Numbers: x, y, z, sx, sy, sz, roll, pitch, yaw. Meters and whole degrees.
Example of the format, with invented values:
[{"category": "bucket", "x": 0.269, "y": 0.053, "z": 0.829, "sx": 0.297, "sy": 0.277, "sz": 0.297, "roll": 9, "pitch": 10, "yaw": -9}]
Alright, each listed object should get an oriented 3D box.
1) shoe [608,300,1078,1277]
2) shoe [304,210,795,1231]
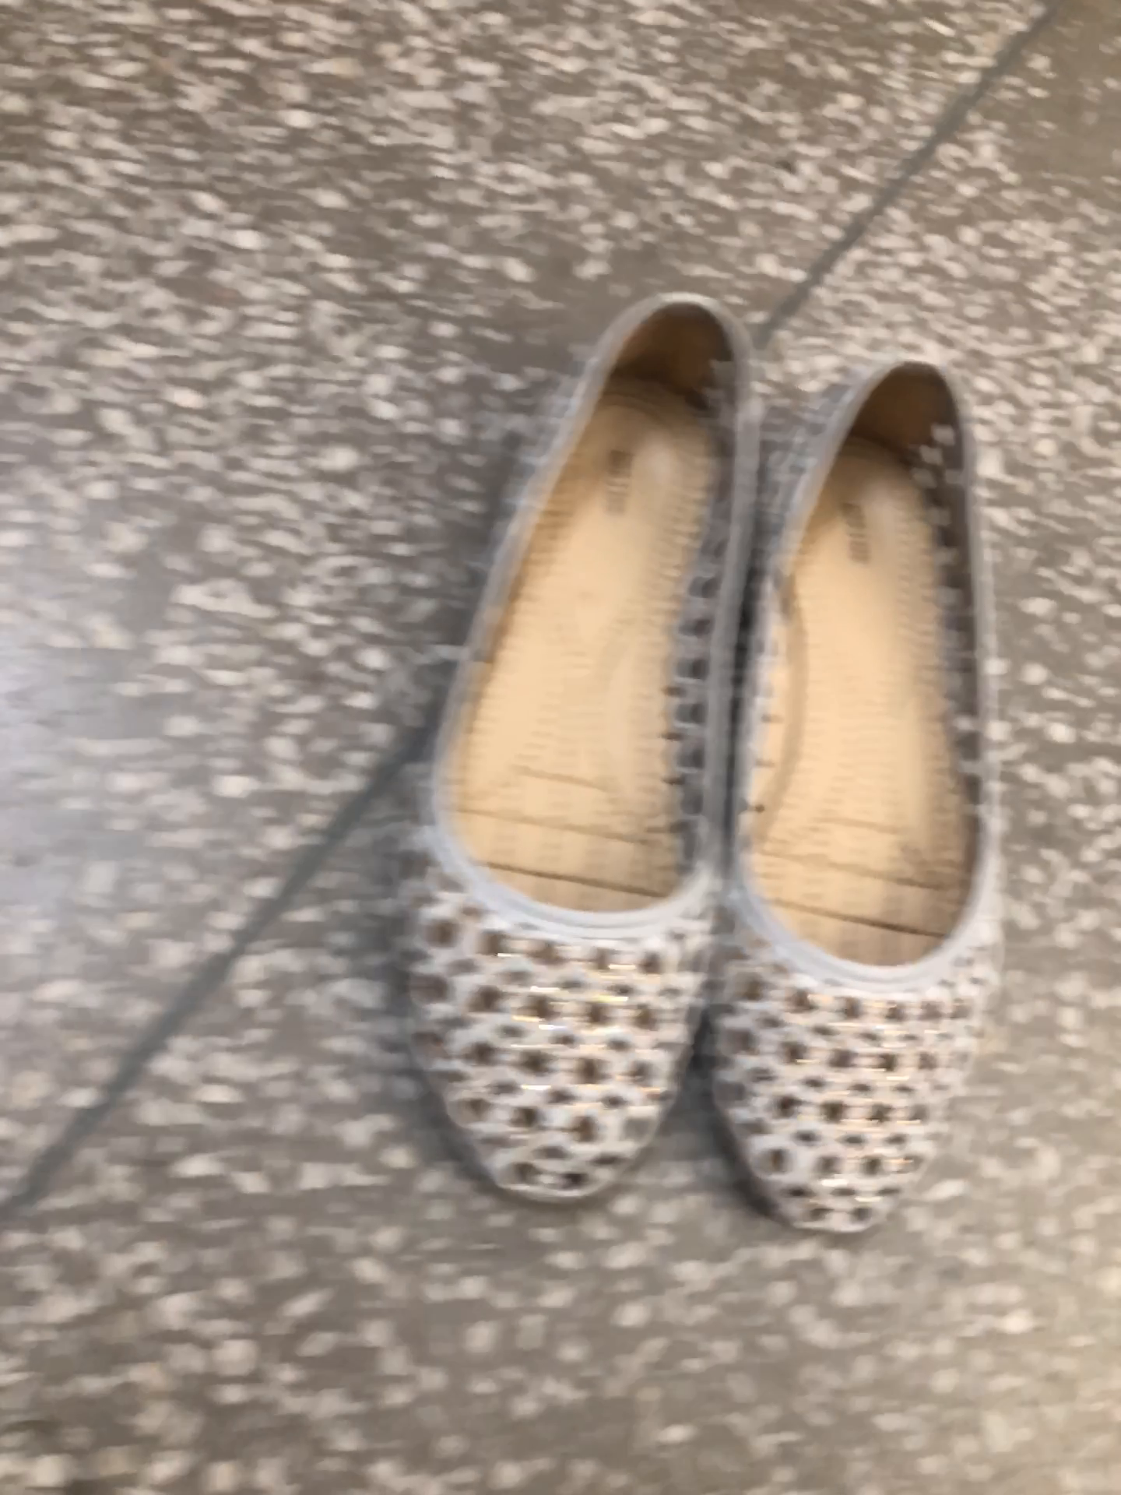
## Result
[{"category": "shoe", "x": 0.077, "y": 0.010, "z": 0.347, "sx": 0.093, "sy": 0.070, "sz": 0.240, "roll": 9, "pitch": 73, "yaw": -11}, {"category": "shoe", "x": -0.001, "y": -0.008, "z": 0.330, "sx": 0.093, "sy": 0.070, "sz": 0.240, "roll": 9, "pitch": 73, "yaw": -11}]
